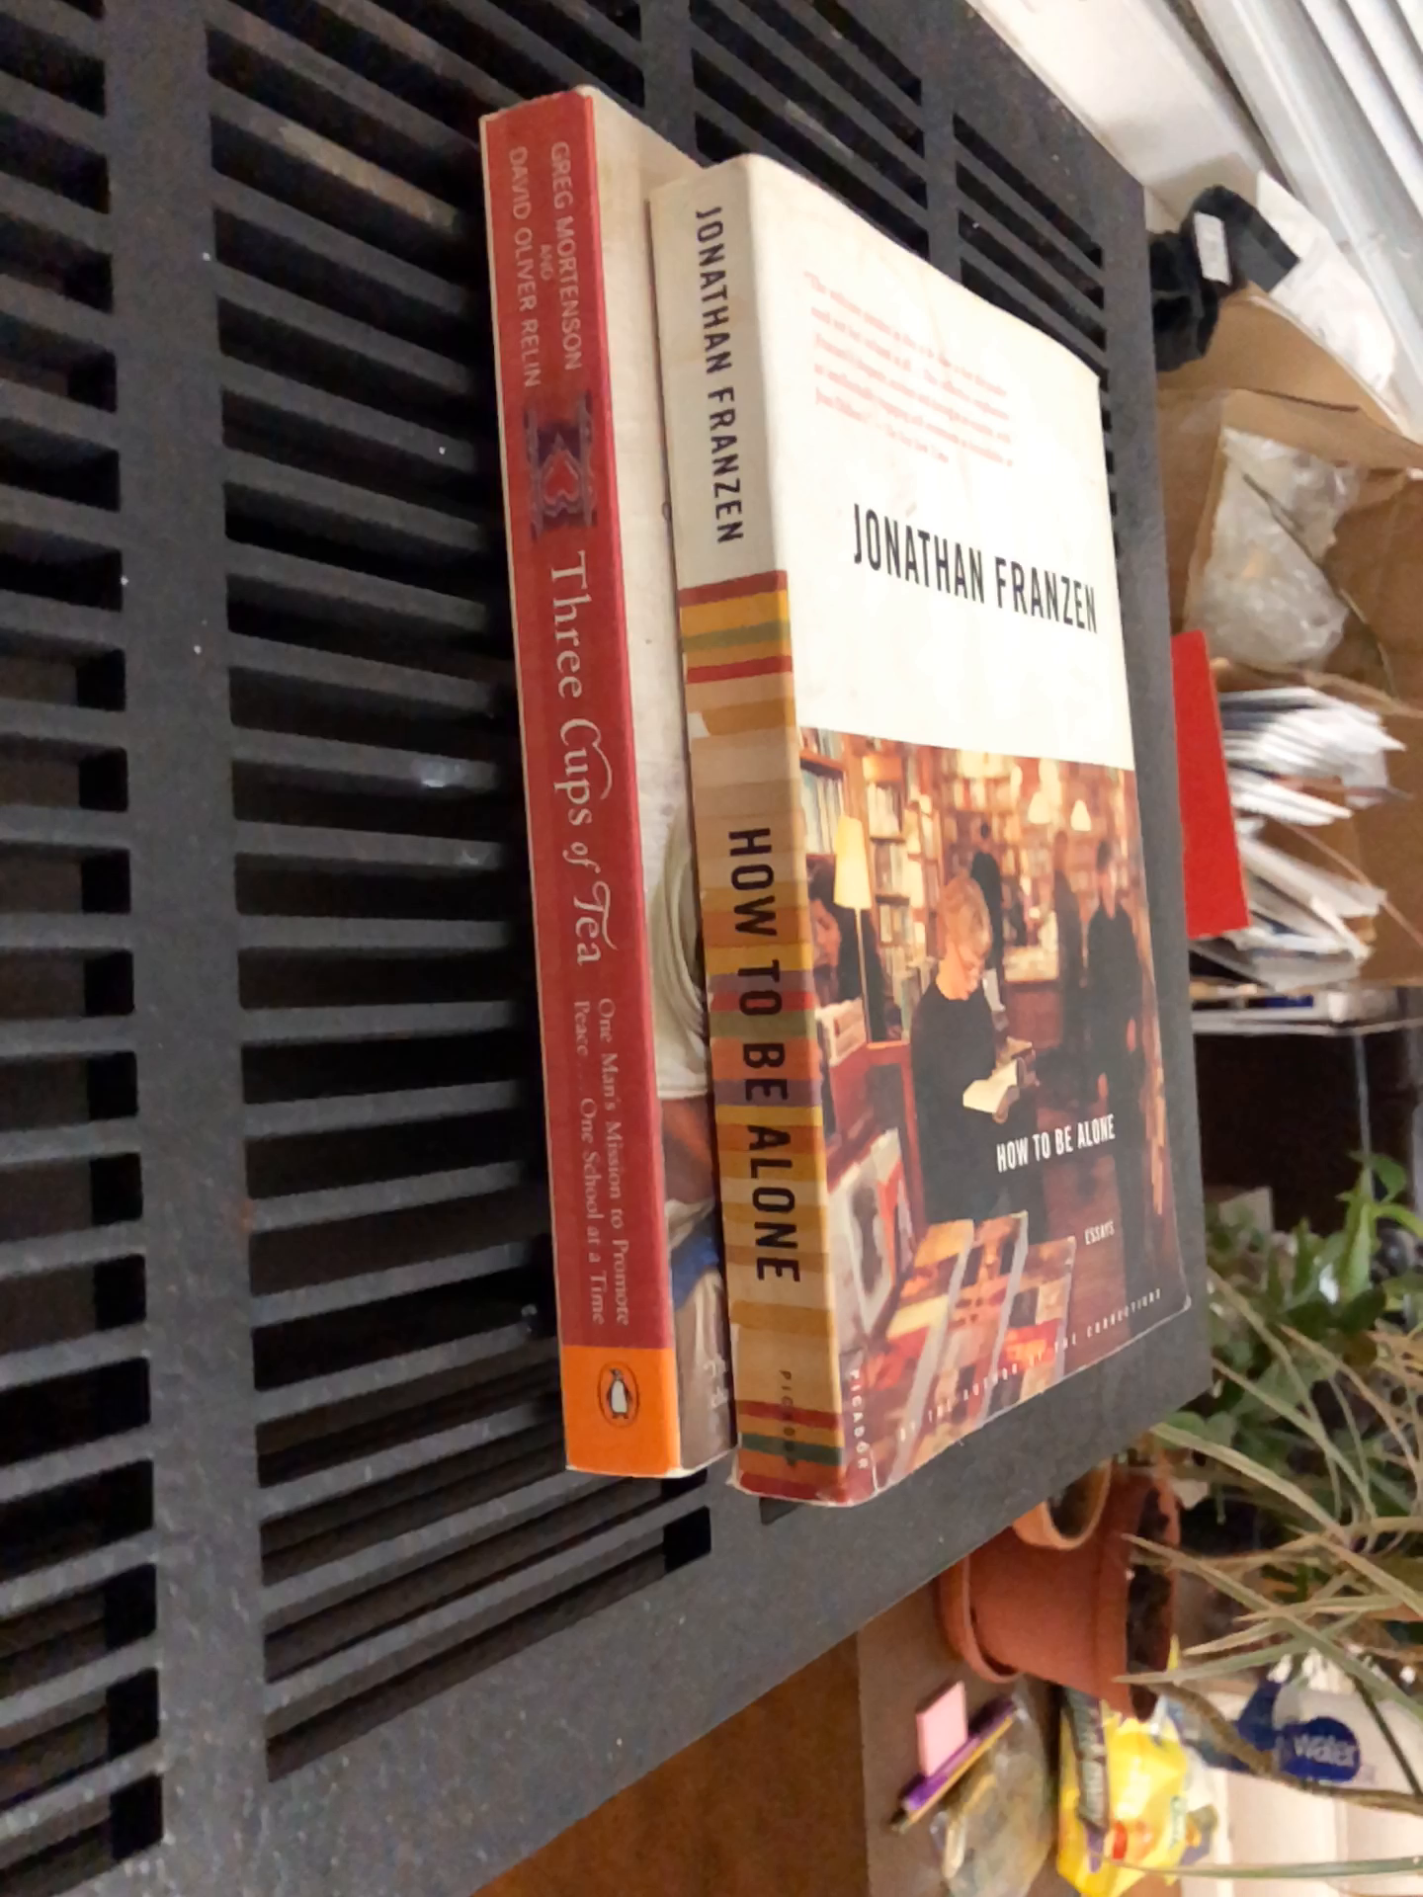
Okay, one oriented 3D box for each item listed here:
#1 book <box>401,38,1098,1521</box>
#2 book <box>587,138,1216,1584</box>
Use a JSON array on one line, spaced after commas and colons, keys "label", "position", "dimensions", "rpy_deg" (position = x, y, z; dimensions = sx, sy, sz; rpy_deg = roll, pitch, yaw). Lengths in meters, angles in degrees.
[{"label": "book", "position": [0.019, -0.027, 0.293], "dimensions": [0.151, 0.030, 0.210], "rpy_deg": [-6, 90, -54]}, {"label": "book", "position": [0.046, -0.016, 0.298], "dimensions": [0.151, 0.030, 0.210], "rpy_deg": [-6, 90, -54]}]
